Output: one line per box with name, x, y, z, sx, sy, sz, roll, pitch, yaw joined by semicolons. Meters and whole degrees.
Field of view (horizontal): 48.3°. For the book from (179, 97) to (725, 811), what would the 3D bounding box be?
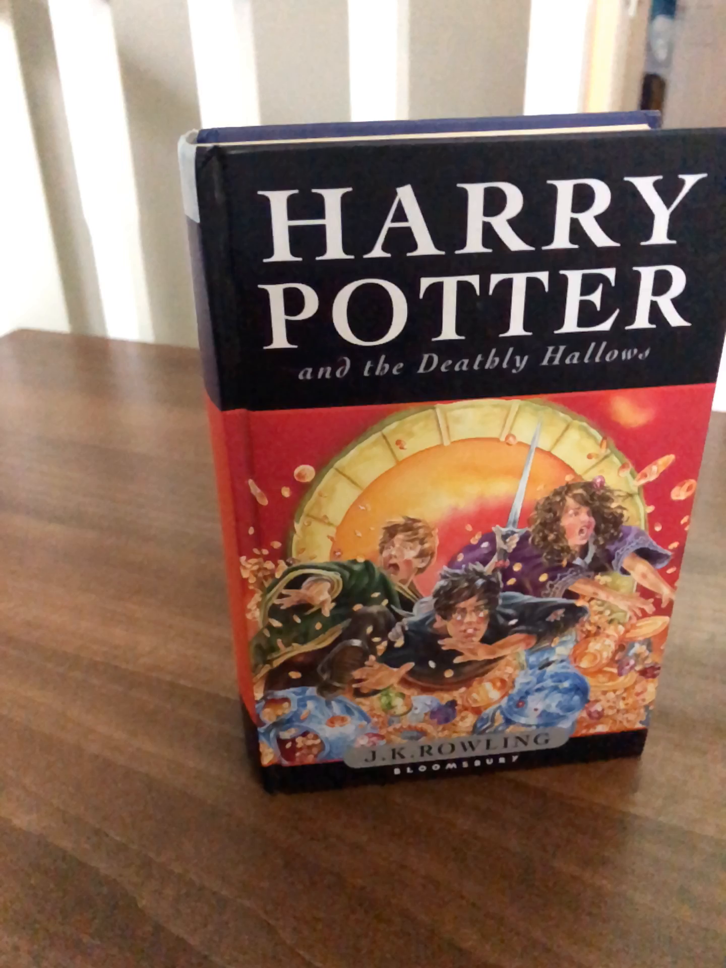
book;0.029;-0.003;0.254;0.140;0.209;0.060;-3;27;-4
